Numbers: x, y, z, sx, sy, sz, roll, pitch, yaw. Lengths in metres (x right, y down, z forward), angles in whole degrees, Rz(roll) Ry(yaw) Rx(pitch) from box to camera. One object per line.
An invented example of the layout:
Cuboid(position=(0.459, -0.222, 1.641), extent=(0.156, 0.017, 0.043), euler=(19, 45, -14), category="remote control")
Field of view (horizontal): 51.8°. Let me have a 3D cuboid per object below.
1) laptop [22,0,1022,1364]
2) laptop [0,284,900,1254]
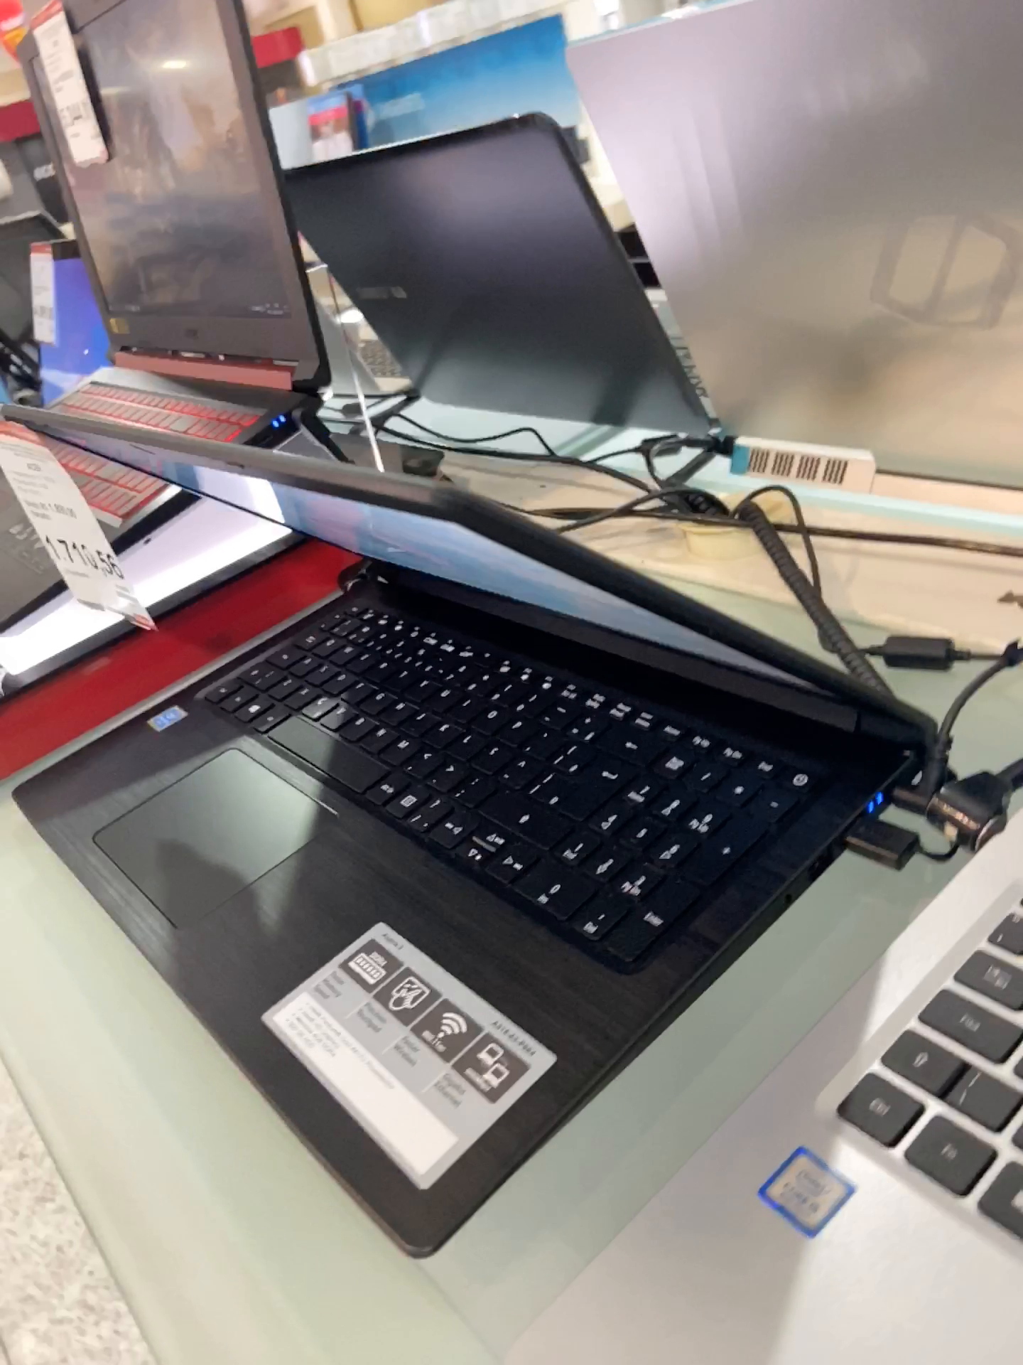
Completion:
Cuboid(position=(0.194, 0.035, 0.122), extent=(0.313, 0.227, 0.364), euler=(-34, 33, -25), category="laptop")
Cuboid(position=(-0.085, -0.025, 0.429), extent=(0.230, 0.169, 0.376), euler=(-37, 35, -27), category="laptop")
